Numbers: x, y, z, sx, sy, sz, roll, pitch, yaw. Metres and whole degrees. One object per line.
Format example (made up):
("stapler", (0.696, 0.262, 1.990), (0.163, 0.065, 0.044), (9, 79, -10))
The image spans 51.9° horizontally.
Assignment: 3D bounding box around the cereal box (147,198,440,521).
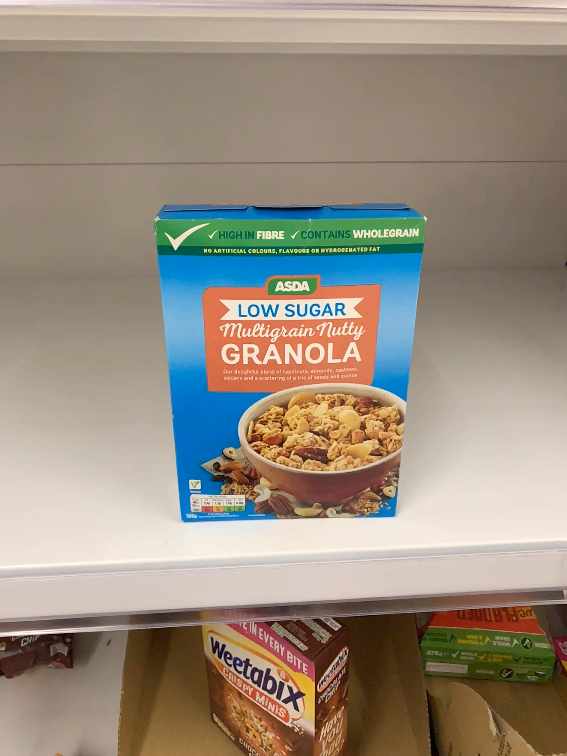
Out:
("cereal box", (0.005, -0.008, 0.458), (0.190, 0.248, 0.061), (-1, 26, -2))
